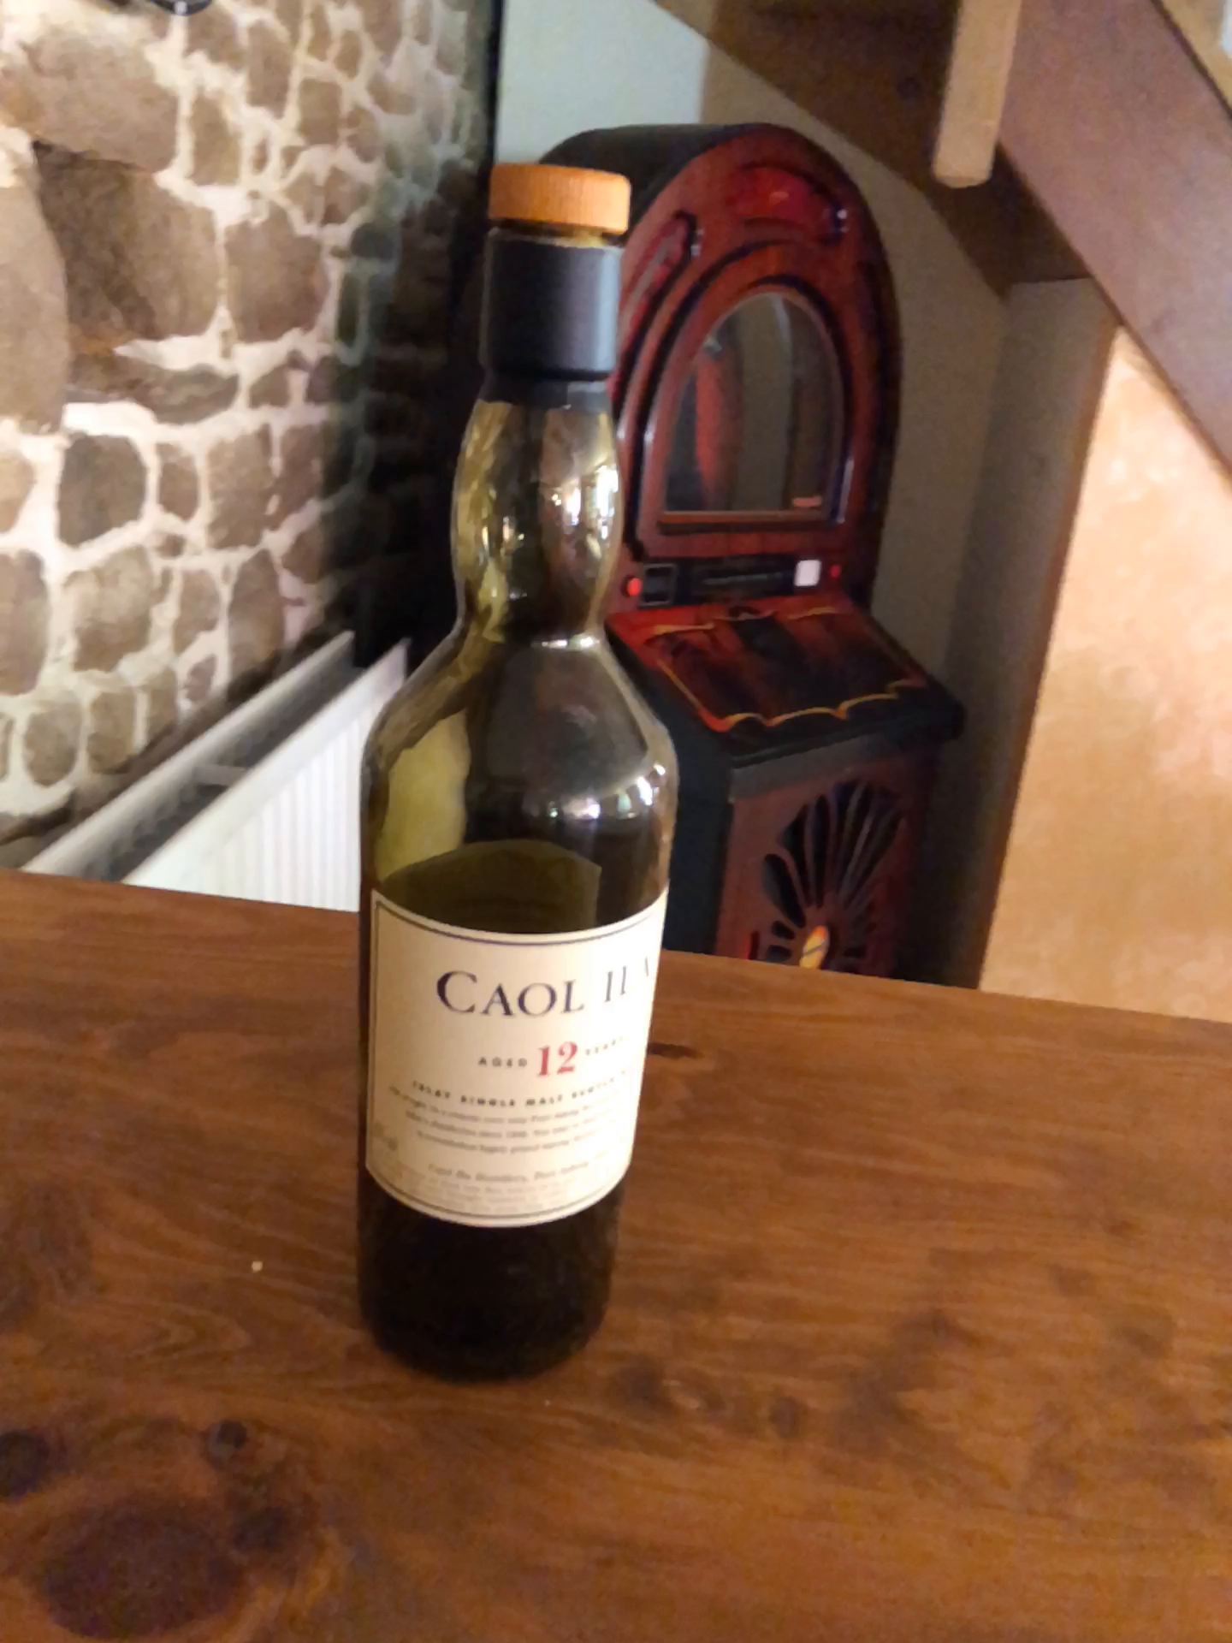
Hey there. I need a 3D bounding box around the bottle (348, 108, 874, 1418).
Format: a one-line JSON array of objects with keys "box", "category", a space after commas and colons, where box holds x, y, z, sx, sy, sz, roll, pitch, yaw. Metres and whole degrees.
[{"box": [-0.013, -0.004, 0.339, 0.080, 0.298, 0.070, -7, 24, -30], "category": "bottle"}]
